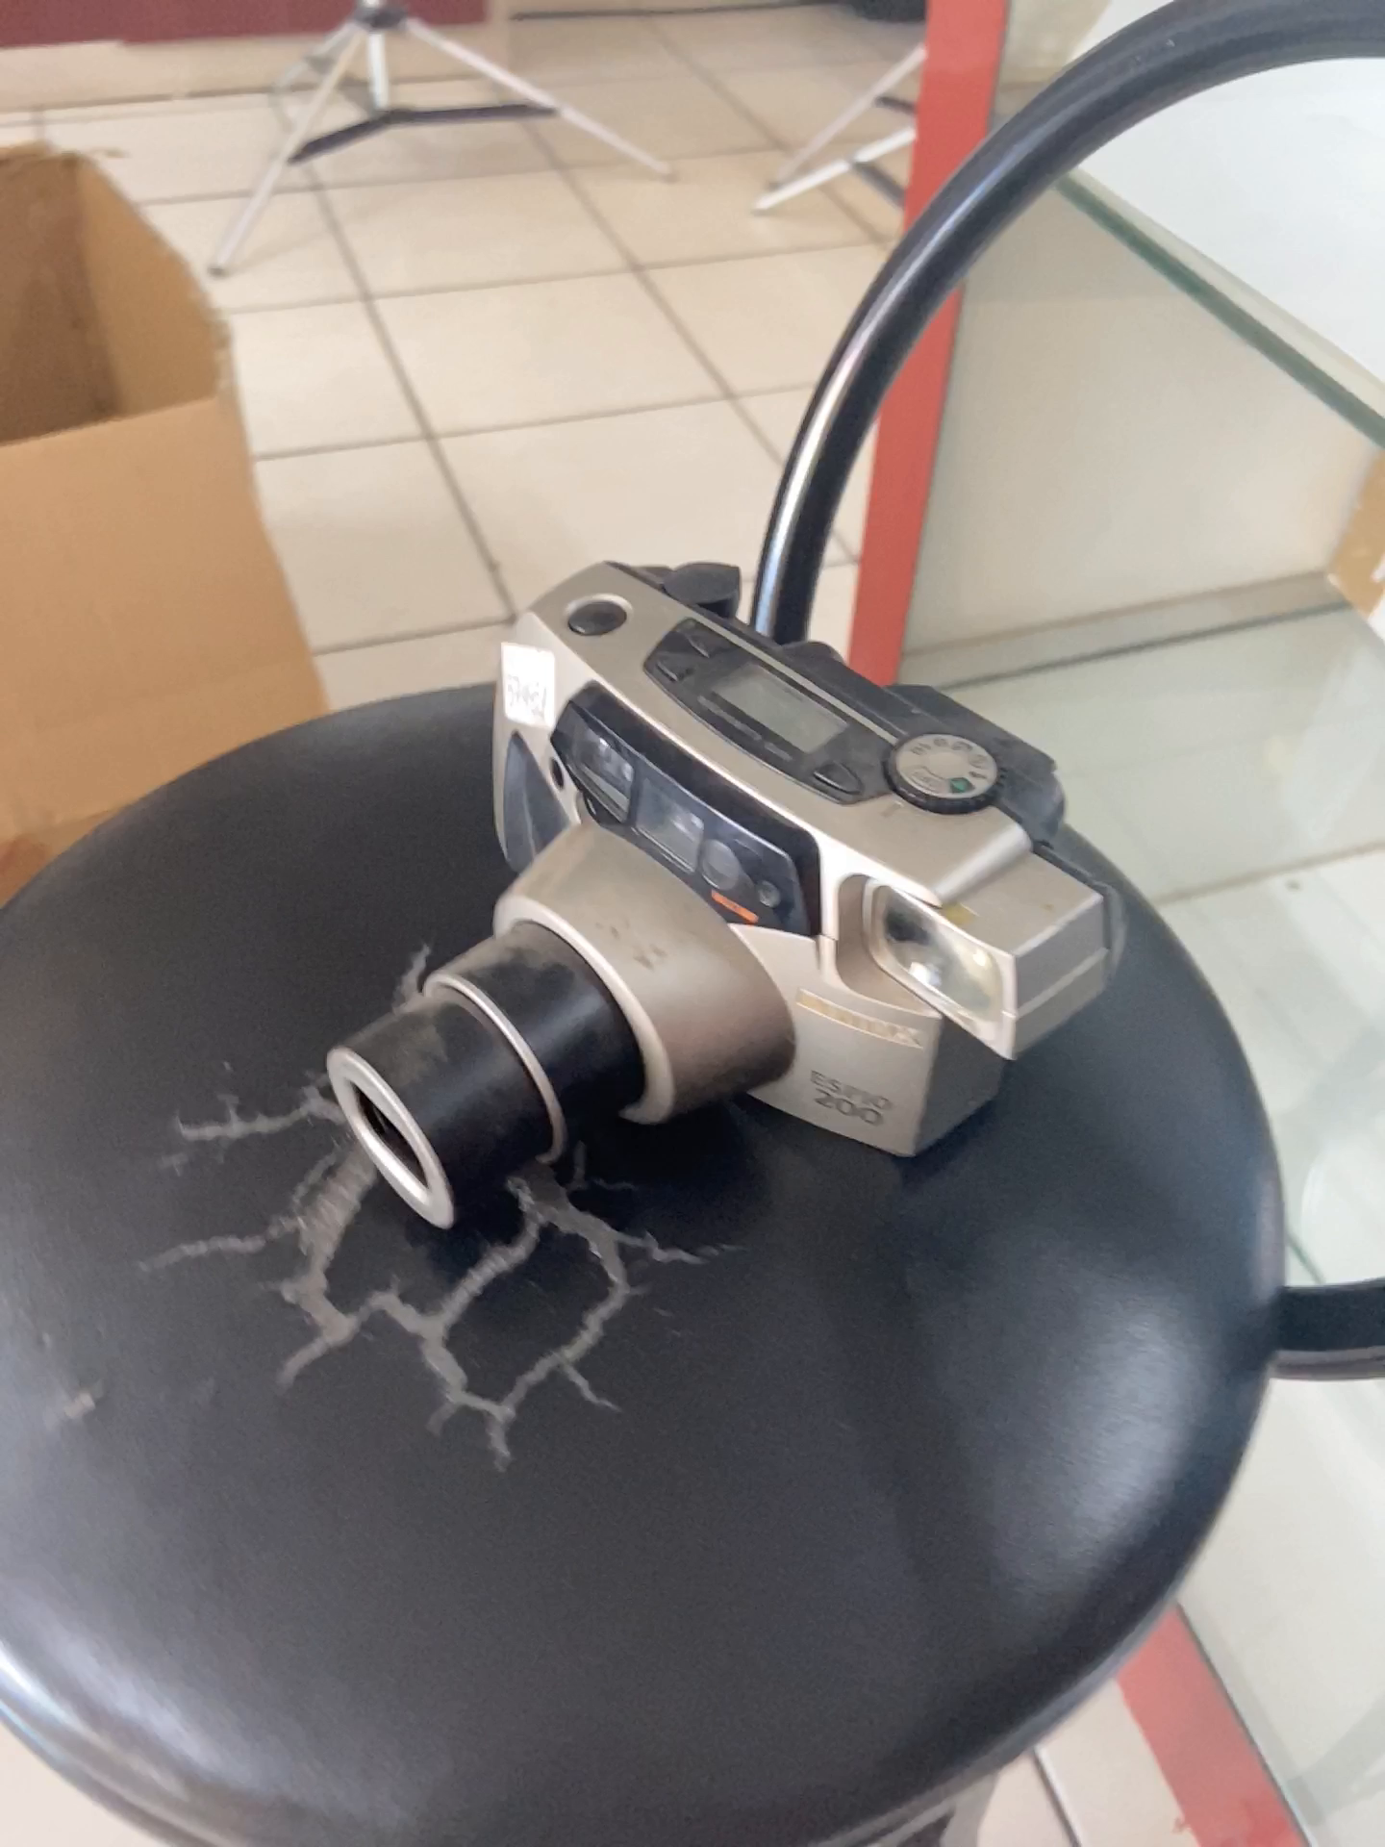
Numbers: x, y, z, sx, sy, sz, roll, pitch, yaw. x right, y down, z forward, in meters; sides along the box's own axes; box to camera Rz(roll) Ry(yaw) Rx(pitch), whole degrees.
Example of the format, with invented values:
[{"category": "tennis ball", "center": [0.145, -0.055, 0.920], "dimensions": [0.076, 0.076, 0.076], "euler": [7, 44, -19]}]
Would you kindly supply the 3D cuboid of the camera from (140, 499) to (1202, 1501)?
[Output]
[{"category": "camera", "center": [-0.004, 0.003, 0.268], "dimensions": [0.130, 0.080, 0.120], "euler": [35, 54, 28]}]
